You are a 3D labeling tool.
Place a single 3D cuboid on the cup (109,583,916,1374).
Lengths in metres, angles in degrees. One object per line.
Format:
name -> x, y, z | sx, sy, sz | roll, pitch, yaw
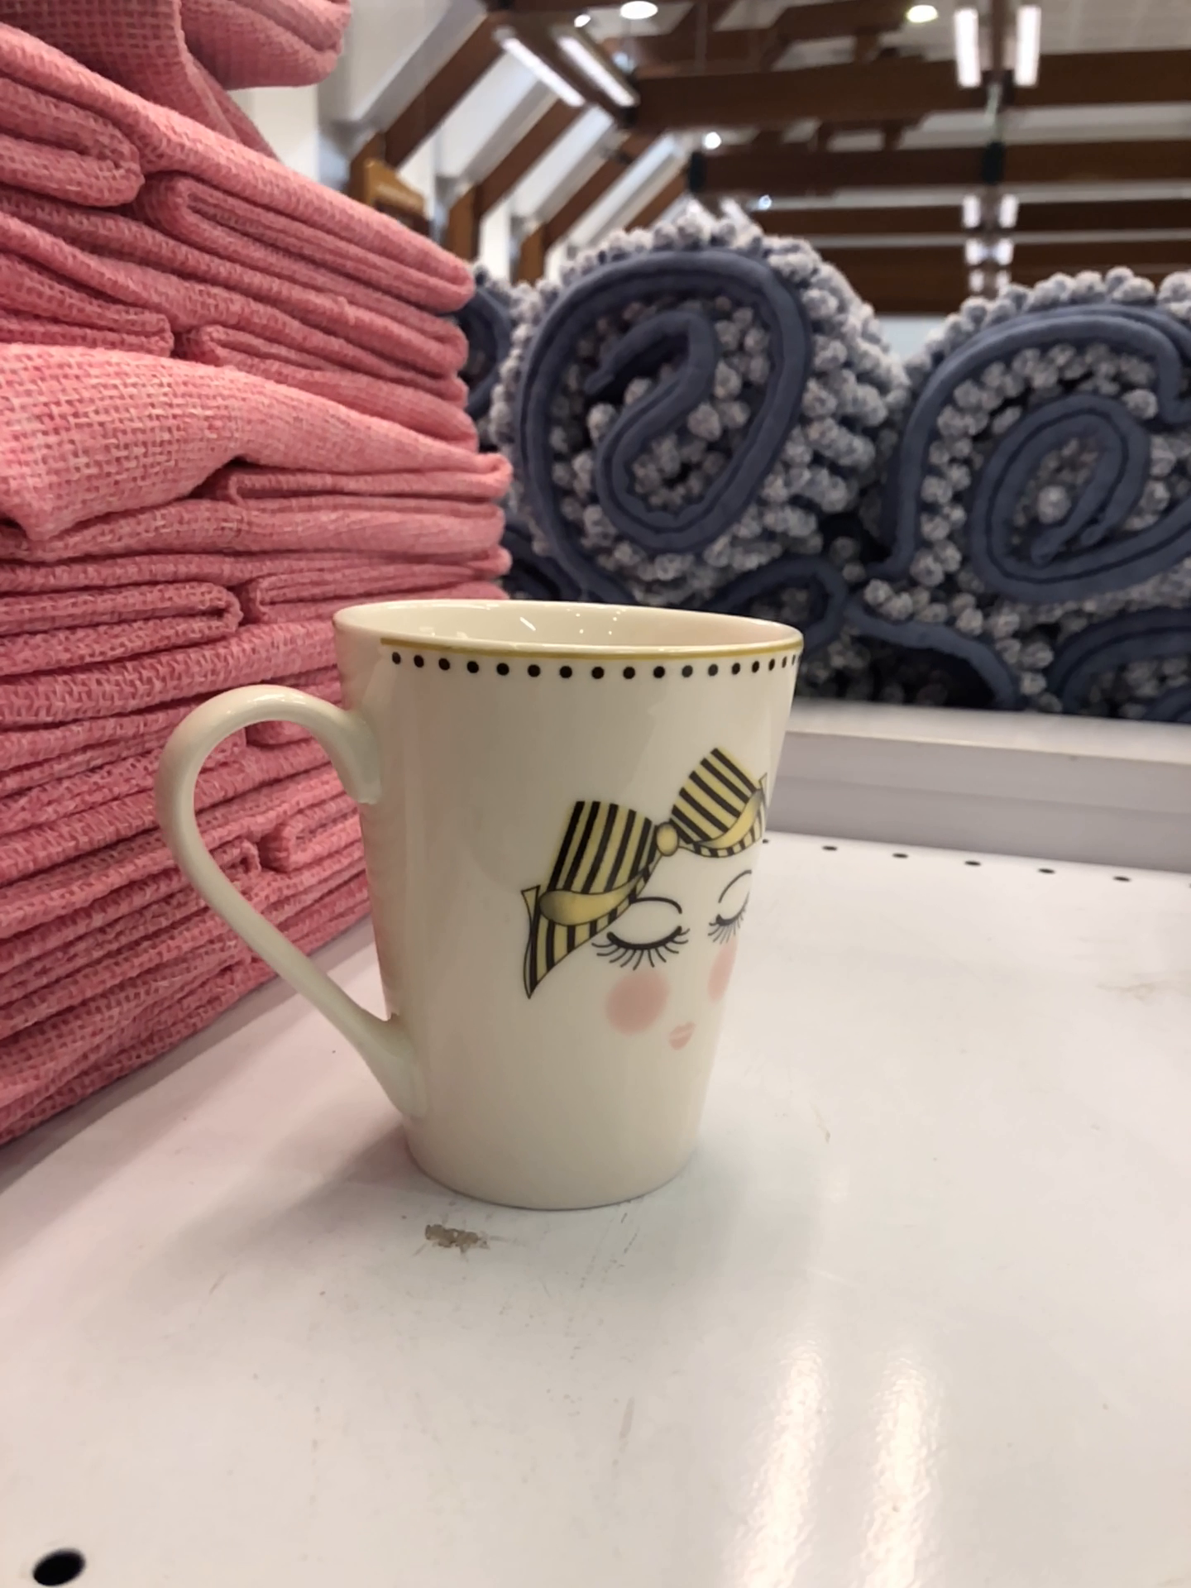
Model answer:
cup -> -0.016, 0.017, 0.245 | 0.110, 0.100, 0.090 | -10, 17, -39
